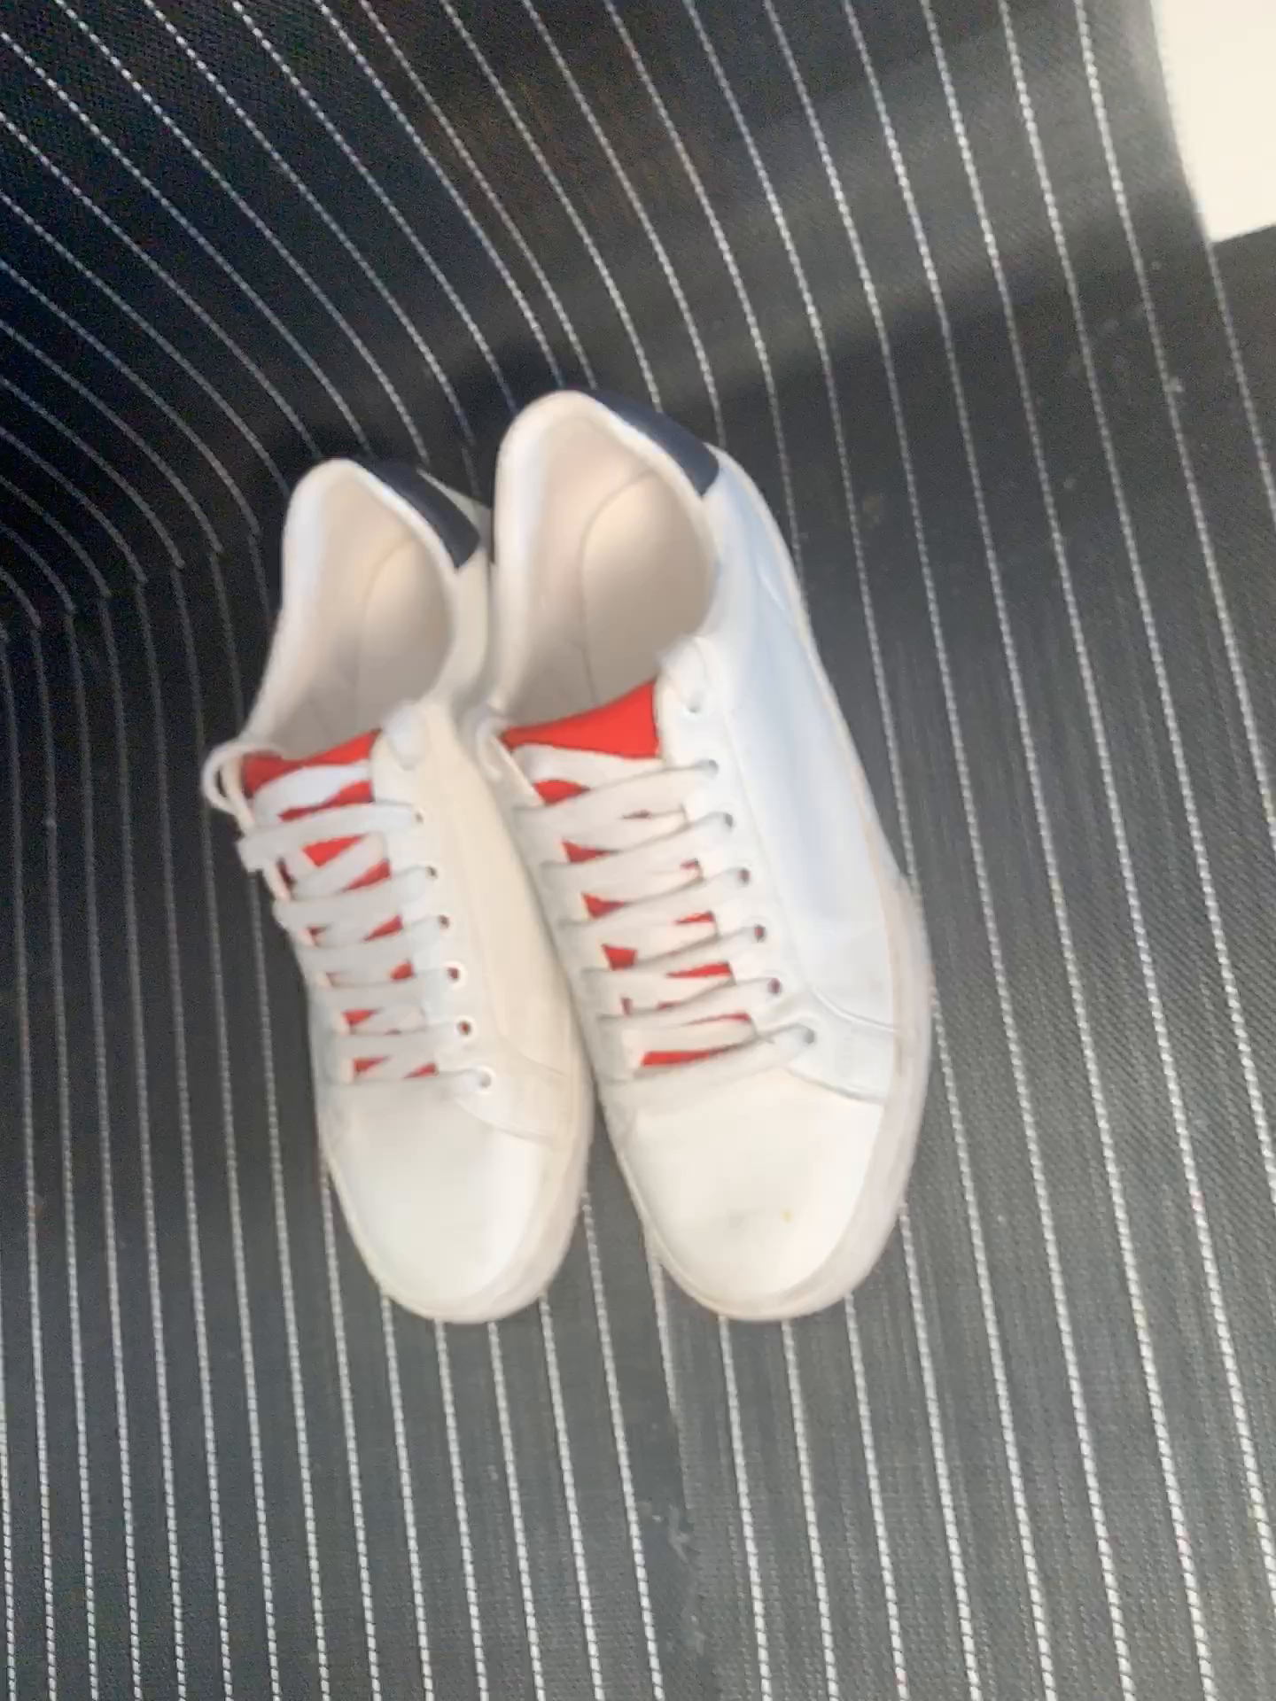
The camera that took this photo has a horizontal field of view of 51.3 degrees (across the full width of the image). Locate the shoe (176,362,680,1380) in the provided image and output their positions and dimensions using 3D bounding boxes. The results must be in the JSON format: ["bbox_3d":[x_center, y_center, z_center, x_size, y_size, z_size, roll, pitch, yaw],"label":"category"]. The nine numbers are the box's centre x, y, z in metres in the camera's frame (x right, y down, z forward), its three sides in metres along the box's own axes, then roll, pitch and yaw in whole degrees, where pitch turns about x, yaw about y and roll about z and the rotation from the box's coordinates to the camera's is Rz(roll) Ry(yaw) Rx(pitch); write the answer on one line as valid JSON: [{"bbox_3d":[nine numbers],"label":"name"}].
[{"bbox_3d":[-0.069,0.010,0.432,0.120,0.090,0.290,-9,76,22],"label":"shoe"}]

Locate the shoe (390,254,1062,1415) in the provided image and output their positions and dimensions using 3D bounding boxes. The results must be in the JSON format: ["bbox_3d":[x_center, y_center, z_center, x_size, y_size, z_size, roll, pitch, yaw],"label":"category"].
[{"bbox_3d":[0.021,-0.004,0.390,0.120,0.090,0.290,-16,73,20],"label":"shoe"}]
